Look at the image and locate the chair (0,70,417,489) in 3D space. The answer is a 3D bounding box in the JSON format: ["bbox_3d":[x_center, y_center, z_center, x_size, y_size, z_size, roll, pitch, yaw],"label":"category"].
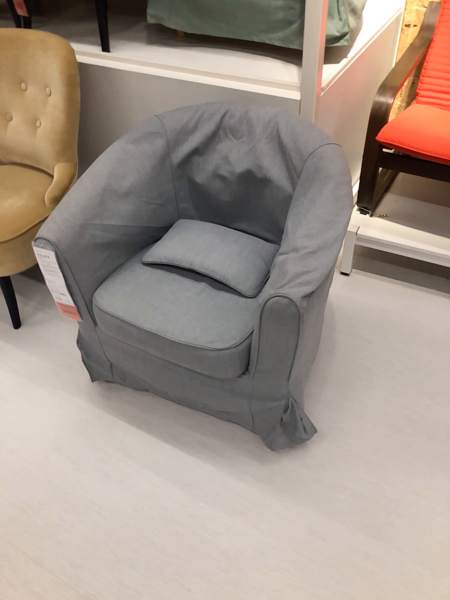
[{"bbox_3d":[-0.023,-0.103,1.488,0.872,0.795,0.724,17,49,20],"label":"chair"}]
